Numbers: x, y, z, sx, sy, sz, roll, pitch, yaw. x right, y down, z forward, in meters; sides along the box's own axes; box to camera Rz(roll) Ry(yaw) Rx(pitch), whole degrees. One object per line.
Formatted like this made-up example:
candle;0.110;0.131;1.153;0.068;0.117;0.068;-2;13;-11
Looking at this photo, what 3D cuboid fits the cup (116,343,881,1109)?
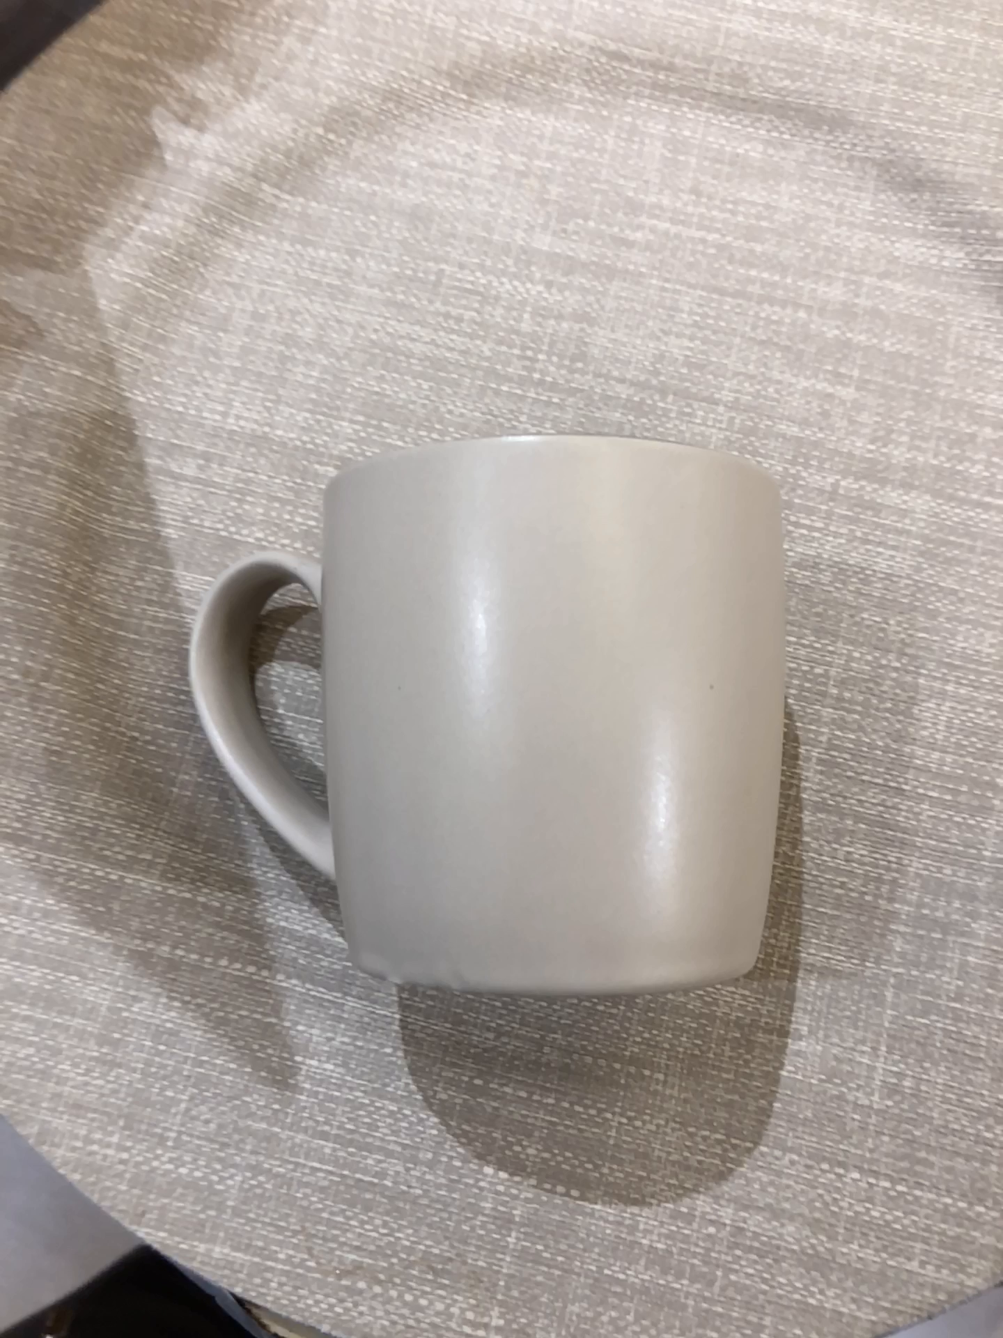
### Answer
cup;-0.001;0.012;0.193;0.100;0.080;0.090;-6;82;36
